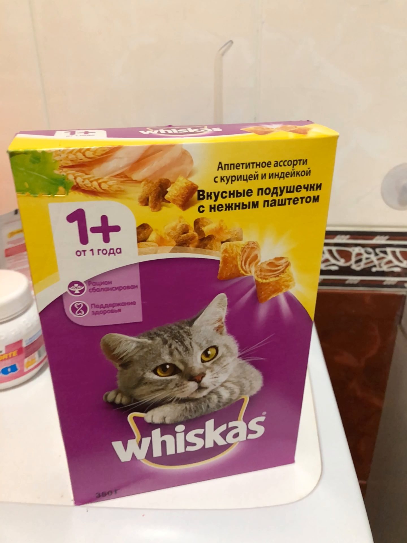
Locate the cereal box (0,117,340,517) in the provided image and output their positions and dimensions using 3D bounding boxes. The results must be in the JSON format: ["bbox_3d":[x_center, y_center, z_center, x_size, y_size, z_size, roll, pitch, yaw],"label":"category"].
[{"bbox_3d":[-0.015,0.034,0.257,0.150,0.219,0.040,-7,28,-11],"label":"cereal box"}]
